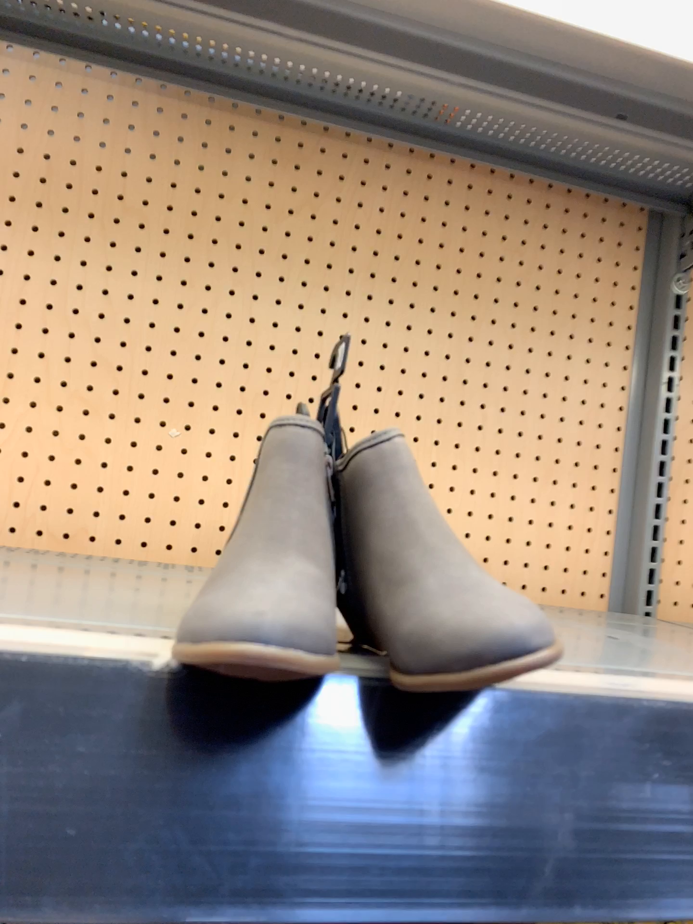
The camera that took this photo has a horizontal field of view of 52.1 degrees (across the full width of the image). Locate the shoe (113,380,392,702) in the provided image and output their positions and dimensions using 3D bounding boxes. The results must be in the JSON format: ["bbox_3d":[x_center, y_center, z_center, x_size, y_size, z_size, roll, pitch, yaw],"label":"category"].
[{"bbox_3d":[-0.033,0.032,0.340,0.087,0.103,0.196,4,-3,-1],"label":"shoe"}]

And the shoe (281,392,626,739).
[{"bbox_3d":[0.033,0.038,0.344,0.074,0.113,0.186,-7,0,-19],"label":"shoe"}]
